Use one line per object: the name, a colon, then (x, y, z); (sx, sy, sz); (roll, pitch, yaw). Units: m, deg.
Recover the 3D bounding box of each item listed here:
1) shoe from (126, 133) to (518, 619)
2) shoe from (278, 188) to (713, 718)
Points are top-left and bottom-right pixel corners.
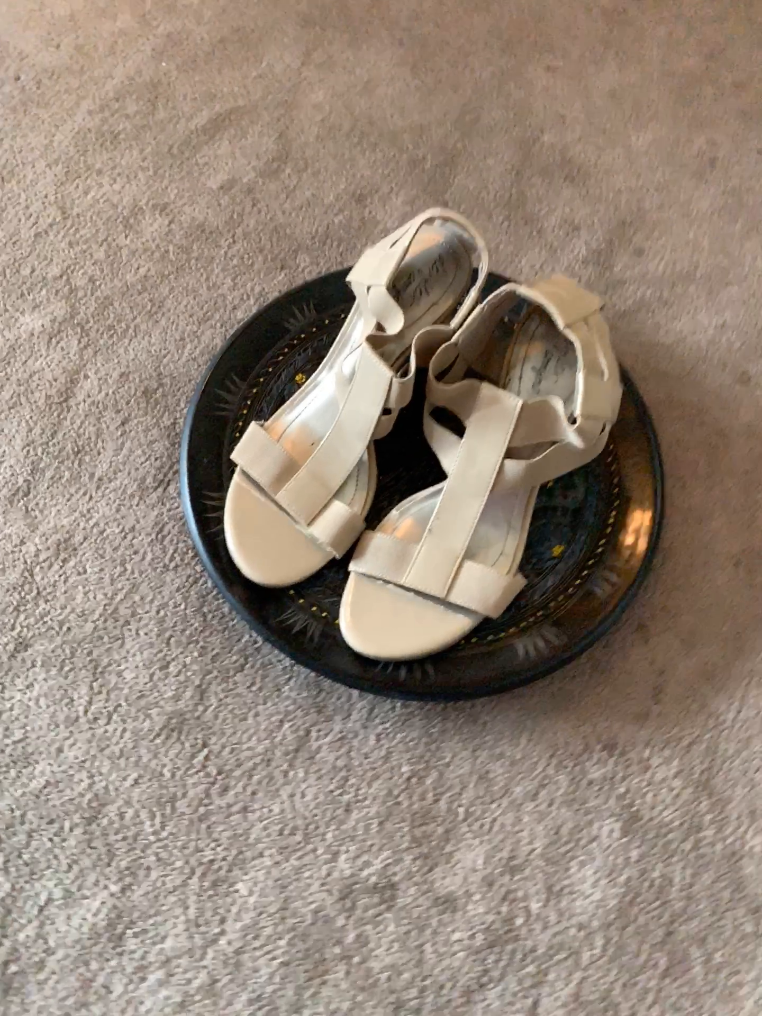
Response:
shoe: (-0.021, -0.070, 0.413); (0.090, 0.100, 0.221); (25, 67, 8)
shoe: (0.056, -0.028, 0.384); (0.100, 0.100, 0.221); (29, 68, 9)
